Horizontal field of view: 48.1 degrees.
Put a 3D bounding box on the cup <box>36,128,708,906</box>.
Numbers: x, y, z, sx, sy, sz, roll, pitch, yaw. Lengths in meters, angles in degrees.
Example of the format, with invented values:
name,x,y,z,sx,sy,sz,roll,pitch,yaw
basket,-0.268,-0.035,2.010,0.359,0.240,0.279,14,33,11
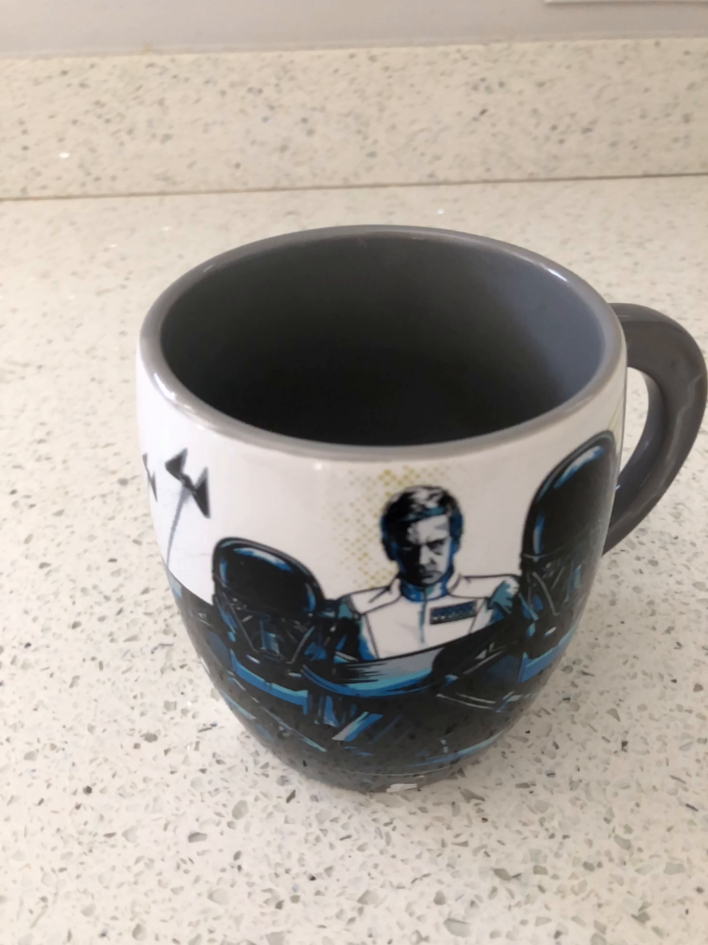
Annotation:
name,x,y,z,sx,sy,sz,roll,pitch,yaw
cup,0.020,-0.004,0.180,0.140,0.100,0.100,-17,41,-19
